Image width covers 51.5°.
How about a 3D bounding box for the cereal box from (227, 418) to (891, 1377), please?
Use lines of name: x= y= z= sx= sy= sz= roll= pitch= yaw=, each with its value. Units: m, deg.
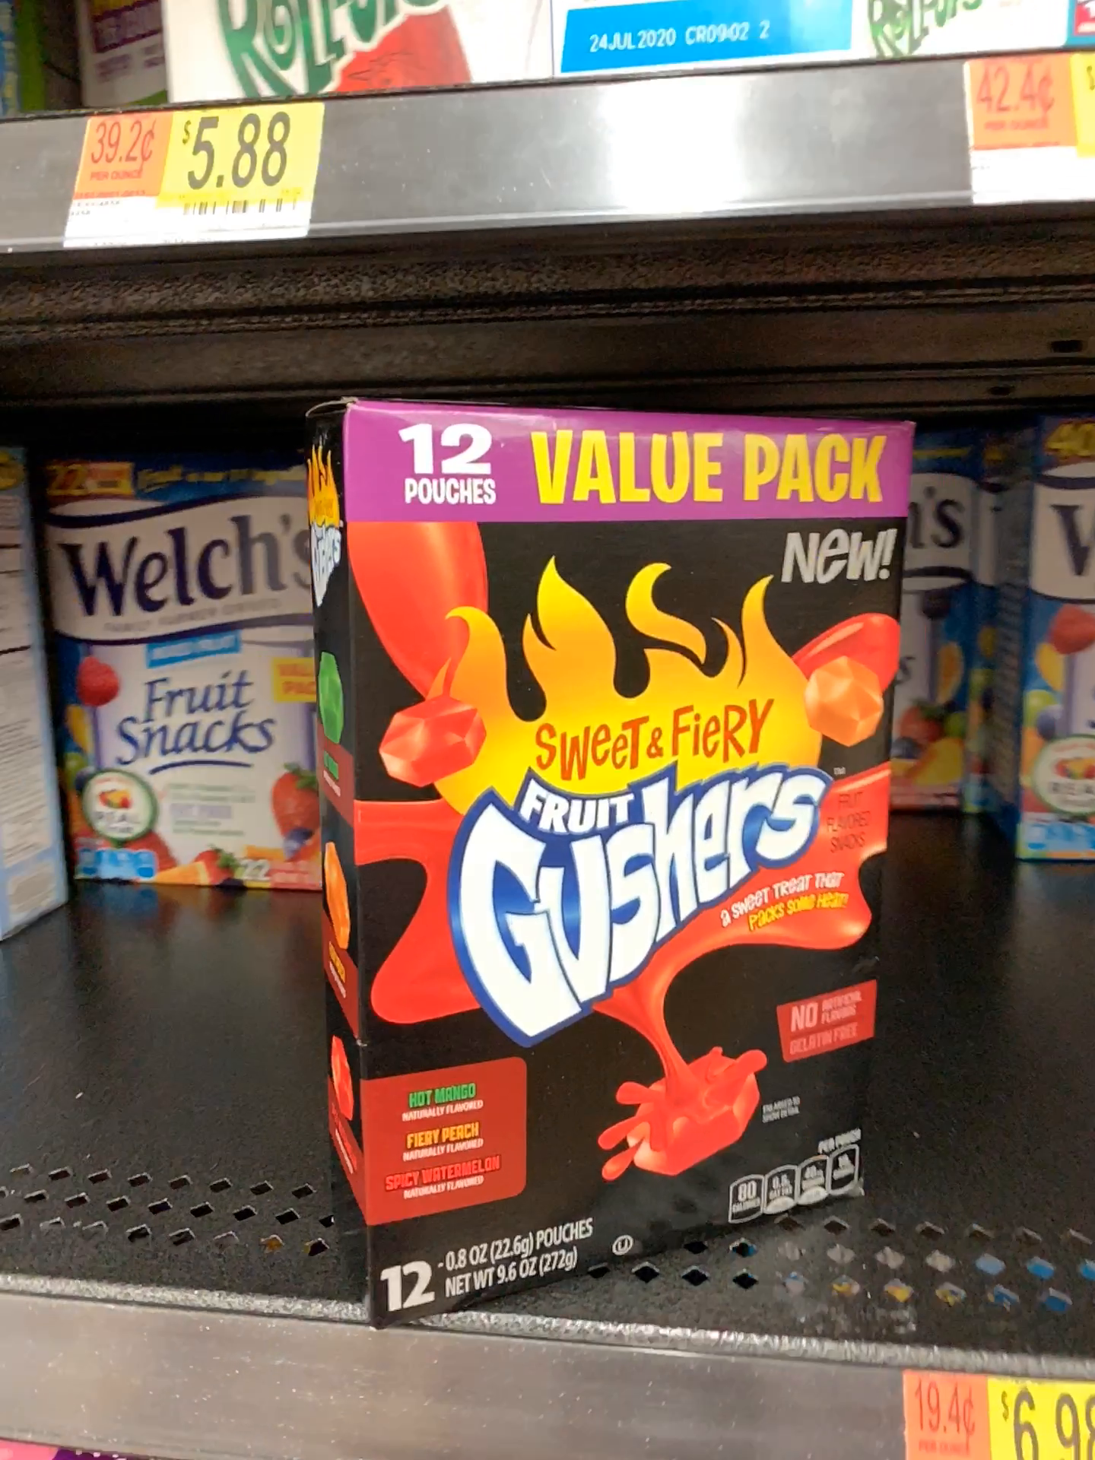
cereal box: x=0.004 y=0.035 z=0.294 sx=0.150 sy=0.219 sz=0.050 roll=-5 pitch=14 yaw=-21
